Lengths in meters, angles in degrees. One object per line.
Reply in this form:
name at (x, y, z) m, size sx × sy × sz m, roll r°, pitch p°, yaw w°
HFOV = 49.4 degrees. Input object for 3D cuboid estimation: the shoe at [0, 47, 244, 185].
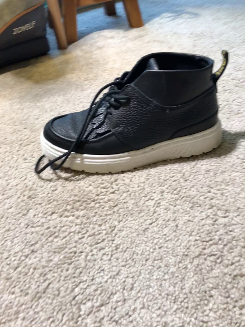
shoe at (0.002, -0.064, 0.352) m, size 0.262 × 0.111 × 0.107 m, roll -7°, pitch 41°, yaw 1°
